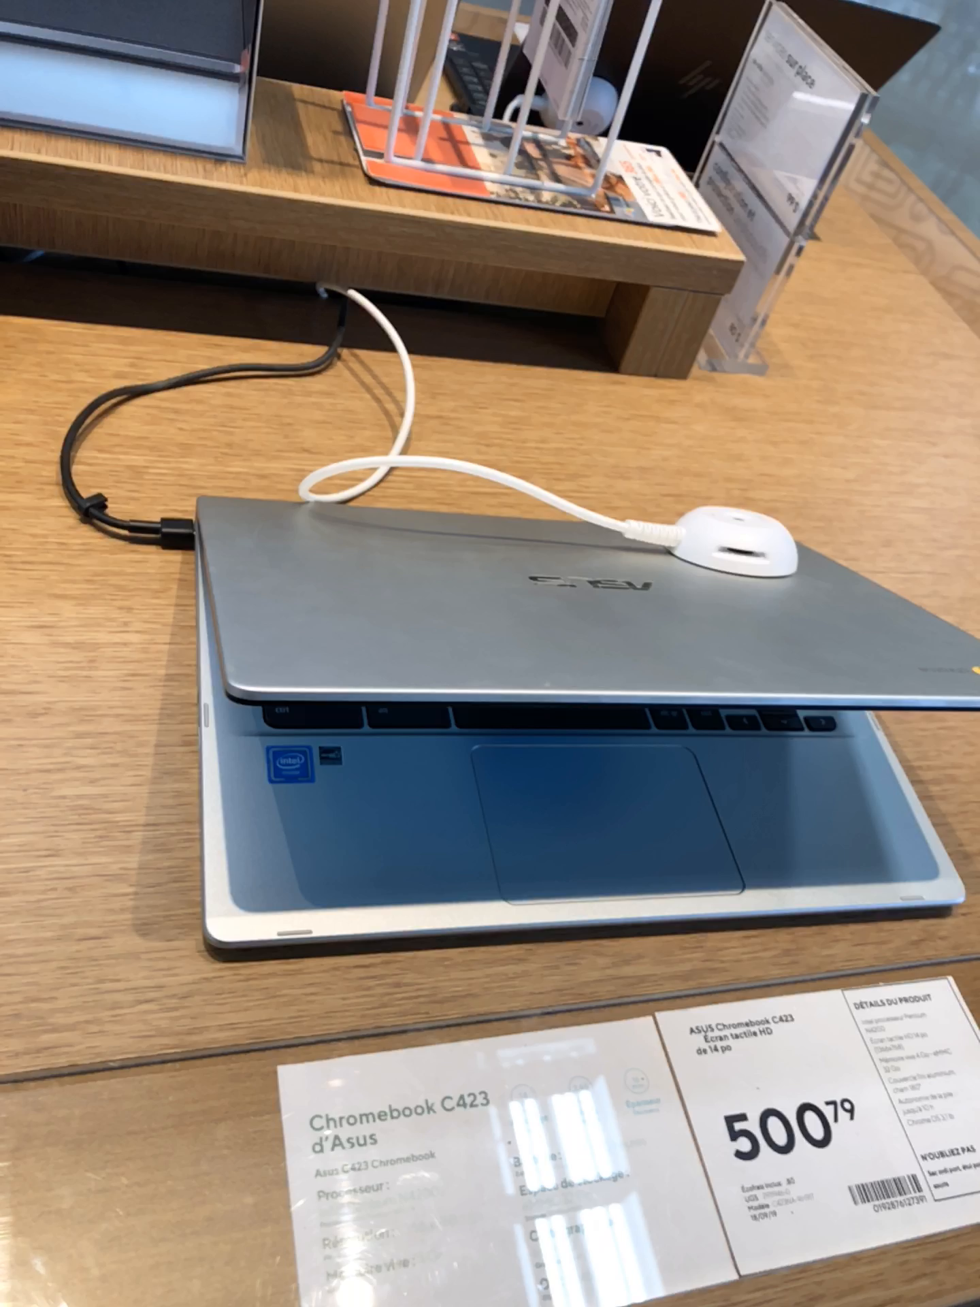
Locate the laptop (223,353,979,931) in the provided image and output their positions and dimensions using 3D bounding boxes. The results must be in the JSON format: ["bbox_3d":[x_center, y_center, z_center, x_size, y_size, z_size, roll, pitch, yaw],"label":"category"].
[{"bbox_3d":[0.051,-0.008,0.450,0.304,0.080,0.206,2,50,-20],"label":"laptop"}]
